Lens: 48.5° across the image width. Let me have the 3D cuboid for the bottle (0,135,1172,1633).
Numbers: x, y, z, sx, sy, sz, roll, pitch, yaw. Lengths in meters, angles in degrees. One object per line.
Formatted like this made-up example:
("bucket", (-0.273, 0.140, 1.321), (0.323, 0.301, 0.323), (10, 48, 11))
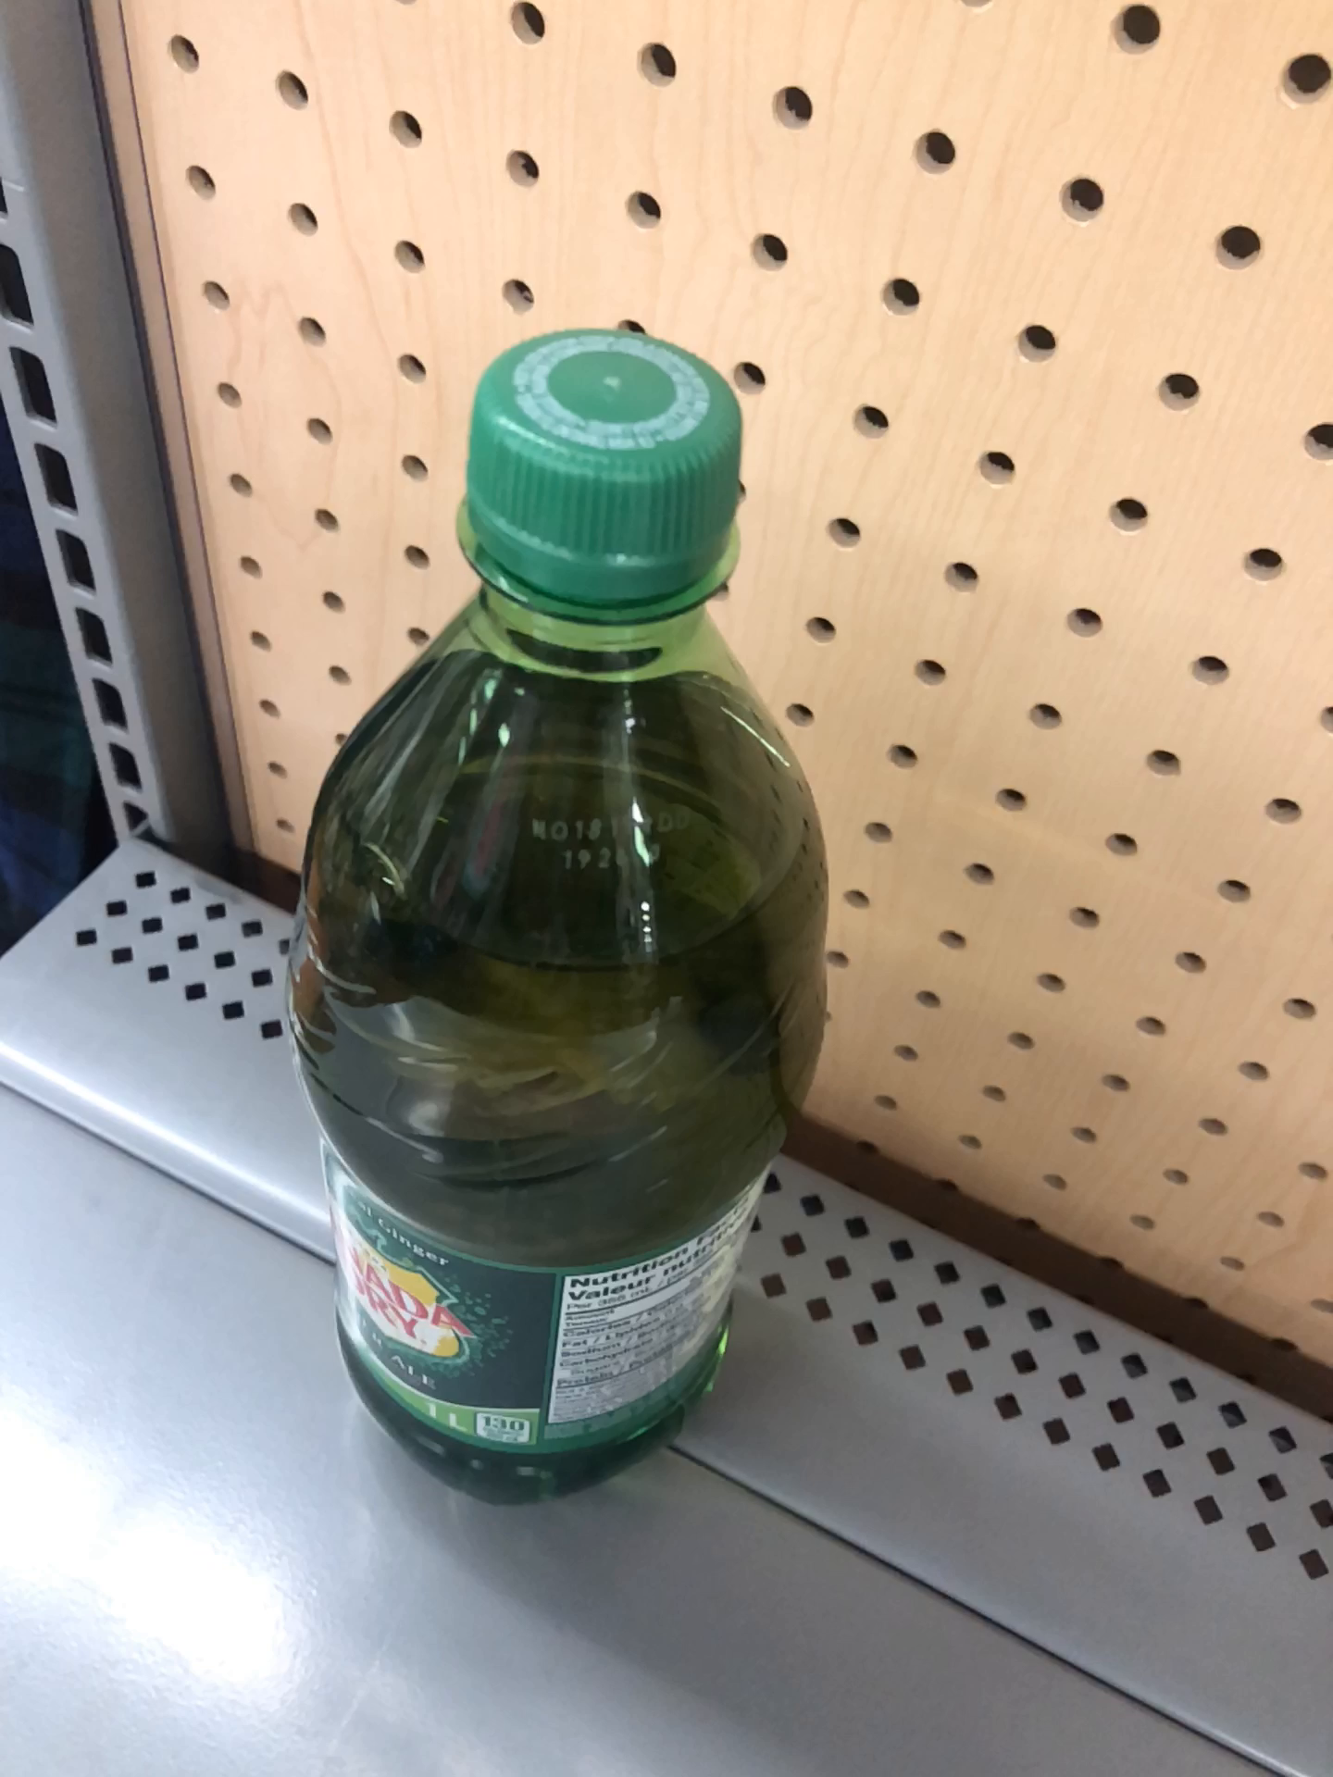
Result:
("bottle", (-0.021, 0.026, 0.254), (0.090, 0.248, 0.090), (4, 49, -5))
